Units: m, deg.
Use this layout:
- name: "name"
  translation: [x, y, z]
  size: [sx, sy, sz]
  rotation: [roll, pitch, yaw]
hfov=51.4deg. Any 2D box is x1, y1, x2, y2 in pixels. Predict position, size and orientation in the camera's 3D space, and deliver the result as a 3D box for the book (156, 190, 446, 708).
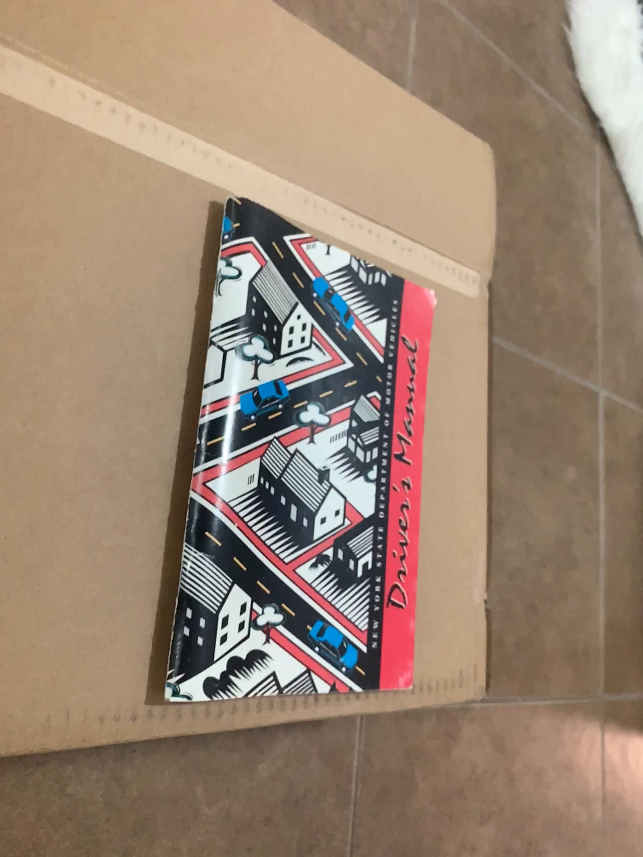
- name: "book"
  translation: [0.003, 0.013, 0.305]
  size: [0.134, 0.013, 0.207]
  rotation: [15, 74, -37]
